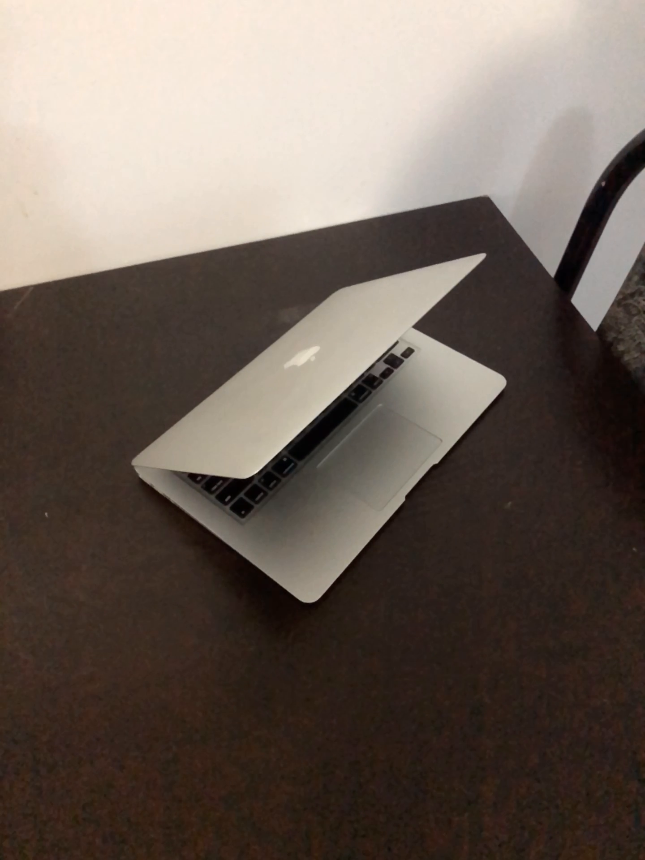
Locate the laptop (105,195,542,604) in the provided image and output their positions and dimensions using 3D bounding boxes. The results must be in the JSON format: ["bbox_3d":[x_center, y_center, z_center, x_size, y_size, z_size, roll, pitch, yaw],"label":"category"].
[{"bbox_3d":[0.013,-0.052,0.670,0.226,0.131,0.331,31,57,25],"label":"laptop"}]
